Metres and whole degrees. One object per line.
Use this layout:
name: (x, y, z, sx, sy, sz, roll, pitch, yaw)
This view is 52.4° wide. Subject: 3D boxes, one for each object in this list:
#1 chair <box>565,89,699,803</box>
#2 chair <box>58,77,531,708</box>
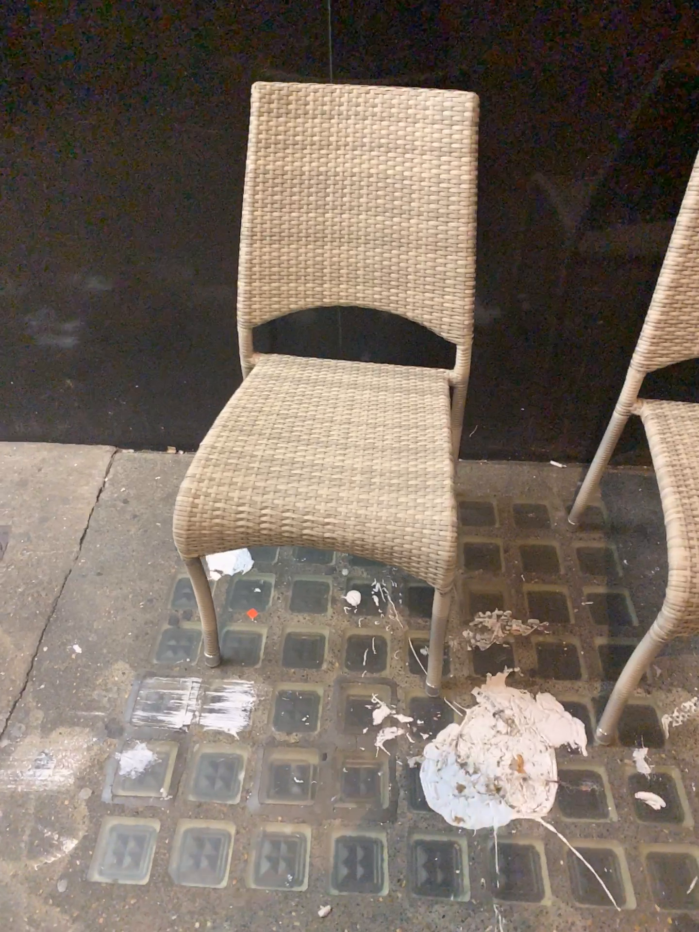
chair: (0.741, -0.046, 1.140, 0.580, 0.901, 0.605, 6, 35, 9)
chair: (-0.008, -0.112, 1.211, 0.480, 0.832, 0.616, 5, 43, 7)
